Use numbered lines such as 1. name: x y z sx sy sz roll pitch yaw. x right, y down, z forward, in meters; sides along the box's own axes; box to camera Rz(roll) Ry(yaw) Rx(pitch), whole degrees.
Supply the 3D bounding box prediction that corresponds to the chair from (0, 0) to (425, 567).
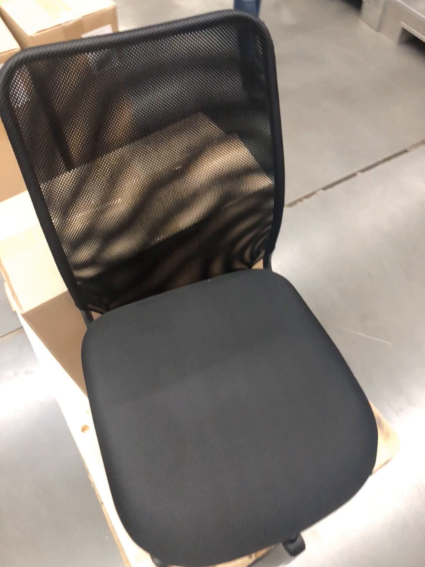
1. chair: 0.023 0.183 0.843 0.600 1.035 0.572 -19 58 -9
